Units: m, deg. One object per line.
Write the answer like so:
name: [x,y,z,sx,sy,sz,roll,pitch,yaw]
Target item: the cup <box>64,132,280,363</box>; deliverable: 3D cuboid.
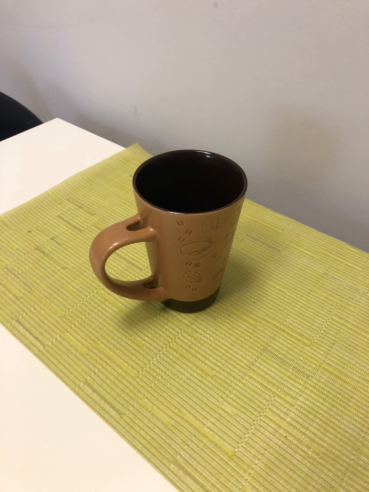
cup: [-0.009,-0.004,0.334,0.126,0.119,0.090,-28,49,-29]
